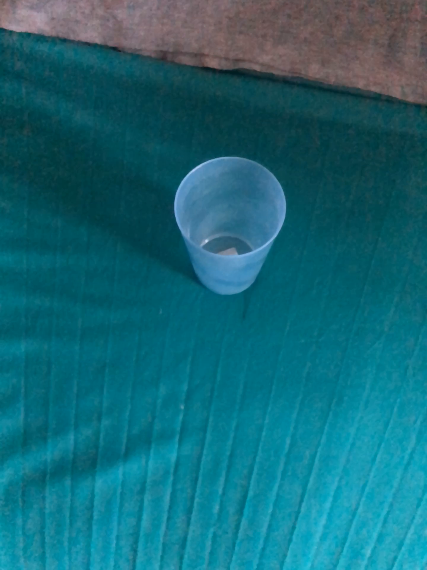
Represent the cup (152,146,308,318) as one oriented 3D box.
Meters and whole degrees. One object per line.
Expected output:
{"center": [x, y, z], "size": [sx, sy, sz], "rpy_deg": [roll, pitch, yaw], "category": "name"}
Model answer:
{"center": [0.011, -0.029, 0.339], "size": [0.078, 0.119, 0.066], "rpy_deg": [15, 76, 4], "category": "cup"}
